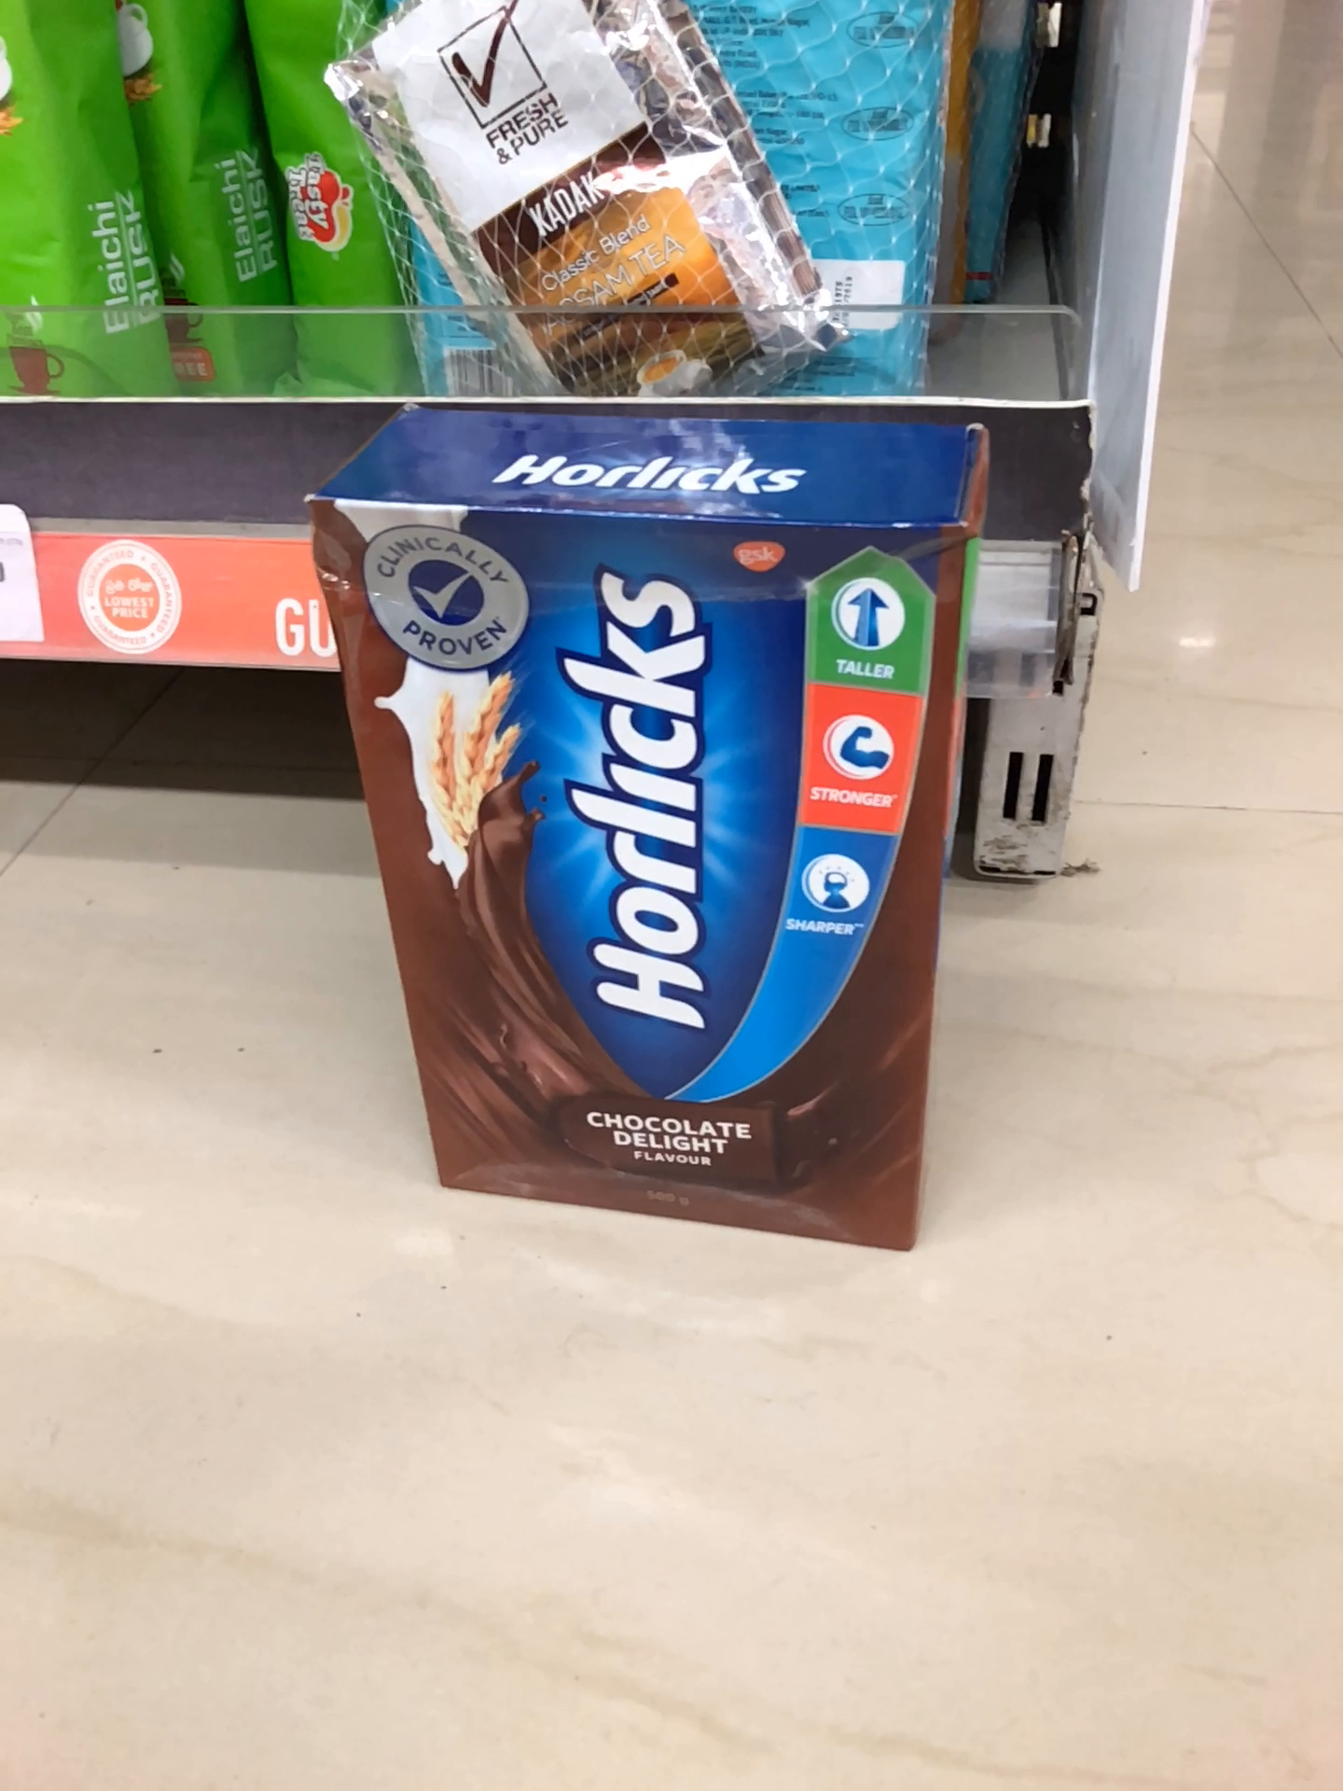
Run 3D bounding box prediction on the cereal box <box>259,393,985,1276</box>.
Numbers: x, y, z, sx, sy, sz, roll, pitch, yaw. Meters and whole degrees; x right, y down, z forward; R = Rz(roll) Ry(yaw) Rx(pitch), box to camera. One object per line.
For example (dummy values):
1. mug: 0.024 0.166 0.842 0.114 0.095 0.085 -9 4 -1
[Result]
1. cereal box: -0.003 -0.008 0.368 0.140 0.209 0.060 5 37 12
